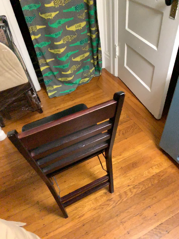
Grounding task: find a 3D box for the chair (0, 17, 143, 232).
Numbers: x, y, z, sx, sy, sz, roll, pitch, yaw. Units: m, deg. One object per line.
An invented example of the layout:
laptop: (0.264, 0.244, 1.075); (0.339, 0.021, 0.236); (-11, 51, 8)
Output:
chair: (-0.142, 0.061, 0.954); (0.490, 0.865, 0.553); (-24, 47, -15)
